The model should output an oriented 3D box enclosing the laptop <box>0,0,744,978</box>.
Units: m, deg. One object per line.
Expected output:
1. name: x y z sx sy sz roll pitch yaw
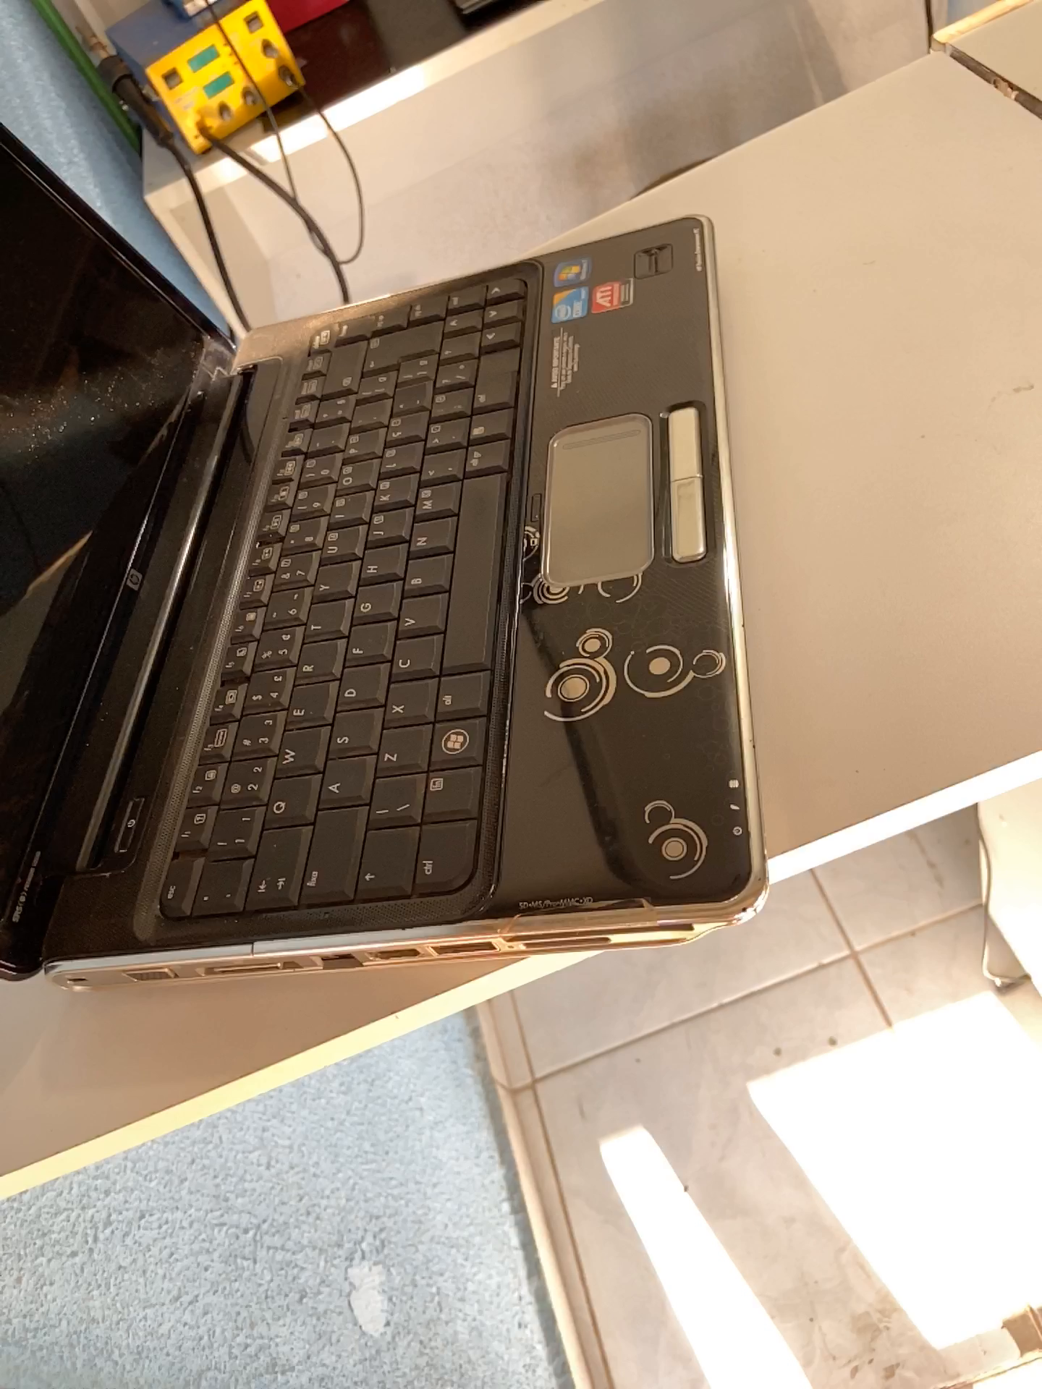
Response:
1. laptop: -0.112 -0.114 0.340 0.301 0.211 0.323 -9 53 17
